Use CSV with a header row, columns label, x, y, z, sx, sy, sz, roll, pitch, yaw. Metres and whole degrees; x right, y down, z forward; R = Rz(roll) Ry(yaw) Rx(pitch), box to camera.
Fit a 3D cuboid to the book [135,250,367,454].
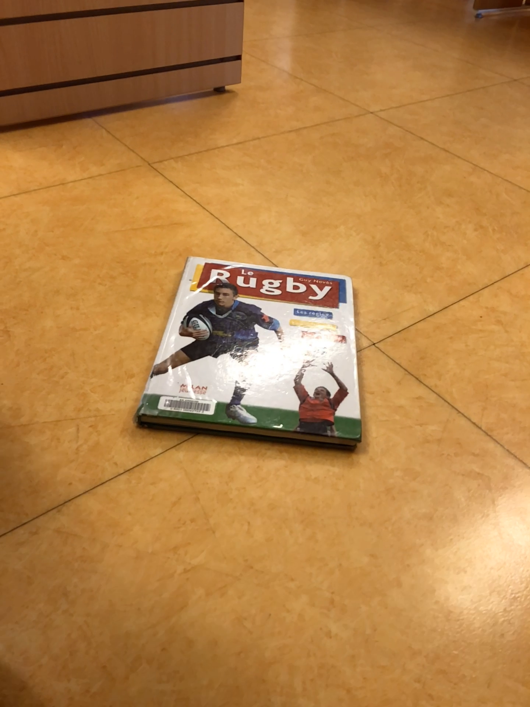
label,x,y,z,sx,sy,sz,roll,pitch,yaw
book,-0.002,-0.017,0.611,0.203,0.024,0.262,7,42,0
